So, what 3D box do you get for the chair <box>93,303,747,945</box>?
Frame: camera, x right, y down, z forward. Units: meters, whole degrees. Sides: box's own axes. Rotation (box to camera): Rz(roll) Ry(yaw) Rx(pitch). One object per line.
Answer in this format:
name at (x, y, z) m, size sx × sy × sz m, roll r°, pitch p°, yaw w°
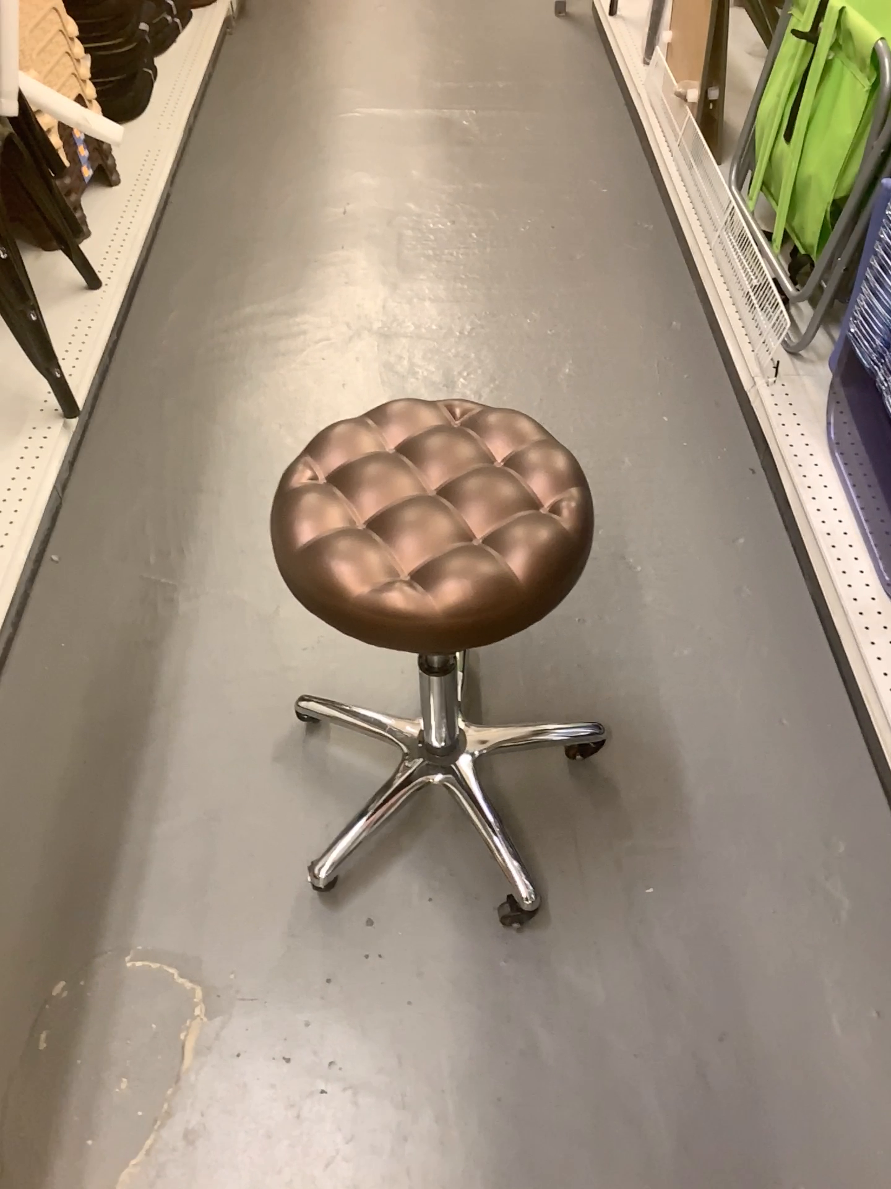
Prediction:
chair at (-0.017, 0.055, 1.077) m, size 0.501 × 0.574 × 0.513 m, roll -1°, pitch 50°, yaw 1°
